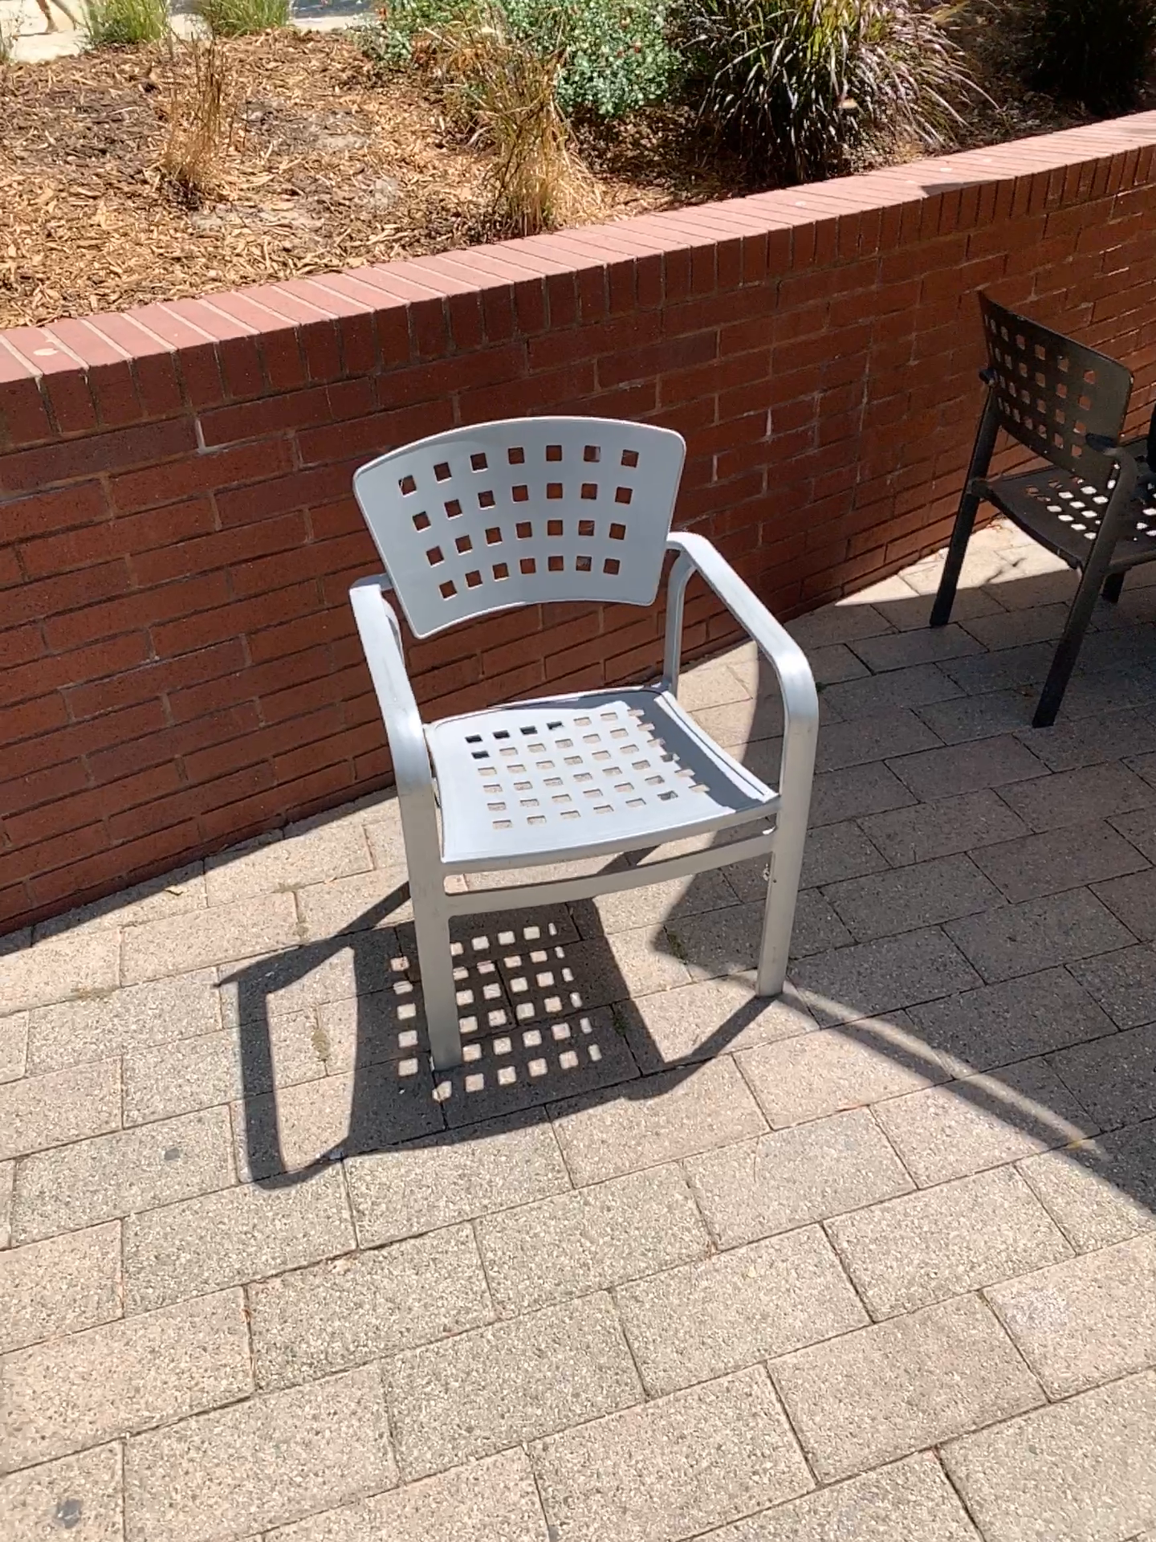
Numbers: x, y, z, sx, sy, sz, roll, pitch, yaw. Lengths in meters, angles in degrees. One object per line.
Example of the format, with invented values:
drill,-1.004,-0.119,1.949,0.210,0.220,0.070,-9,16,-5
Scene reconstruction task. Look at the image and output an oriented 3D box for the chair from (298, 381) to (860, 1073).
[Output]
chair,-0.020,-0.076,1.664,0.558,0.718,0.493,-12,36,-13
